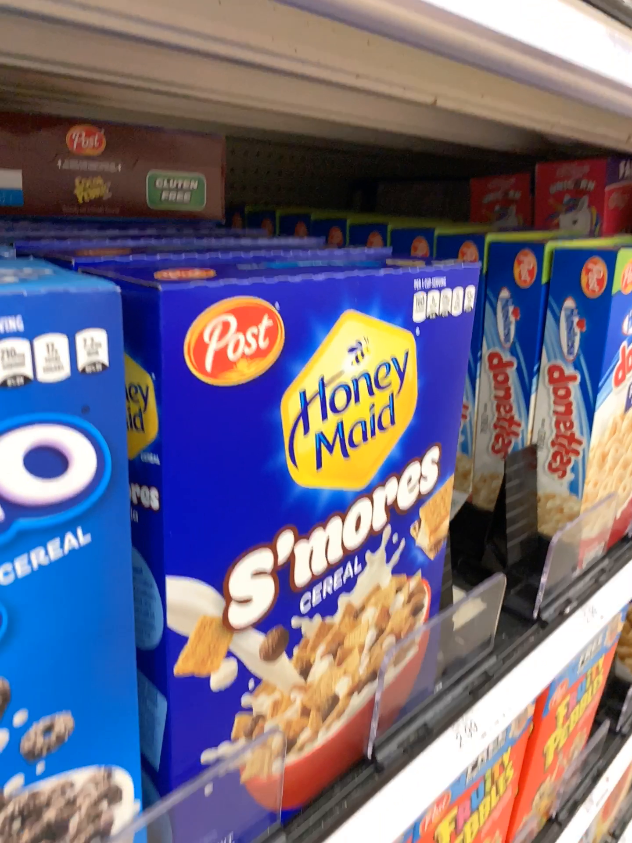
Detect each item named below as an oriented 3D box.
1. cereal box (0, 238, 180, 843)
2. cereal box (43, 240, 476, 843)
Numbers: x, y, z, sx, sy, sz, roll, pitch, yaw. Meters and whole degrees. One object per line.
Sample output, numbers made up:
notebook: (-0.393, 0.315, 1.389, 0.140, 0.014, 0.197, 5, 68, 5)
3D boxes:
cereal box: (-0.137, 0.091, 0.187, 0.070, 0.269, 0.180, 18, 24, 39)
cereal box: (-0.015, 0.053, 0.322, 0.190, 0.269, 0.060, -15, 25, -42)
